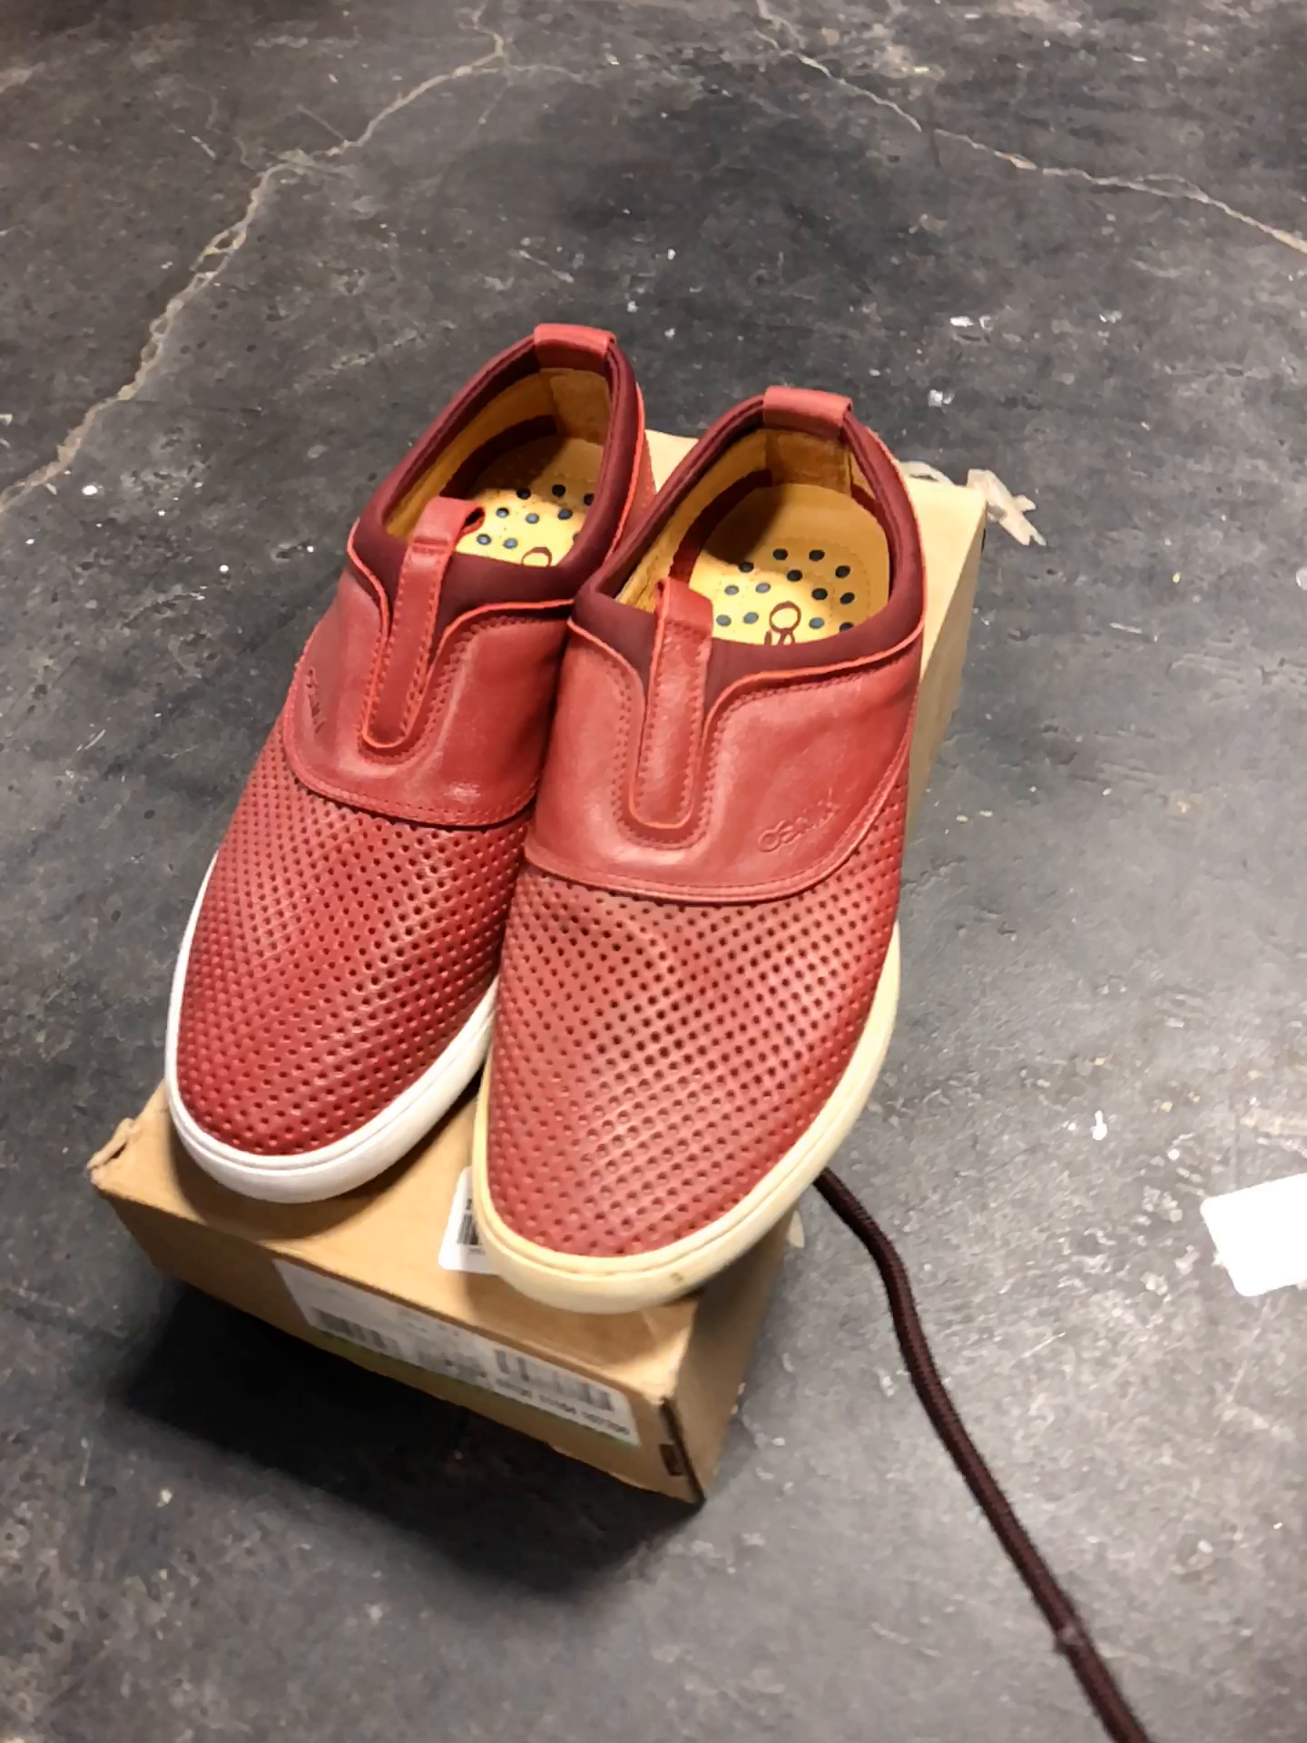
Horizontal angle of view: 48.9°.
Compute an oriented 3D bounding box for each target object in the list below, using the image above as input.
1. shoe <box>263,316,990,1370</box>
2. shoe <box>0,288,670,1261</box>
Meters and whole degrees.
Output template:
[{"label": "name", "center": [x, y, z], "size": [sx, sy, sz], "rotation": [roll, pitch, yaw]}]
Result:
[{"label": "shoe", "center": [0.011, -0.017, 0.362], "size": [0.100, 0.109, 0.231], "rotation": [11, 58, 12]}, {"label": "shoe", "center": [-0.077, -0.035, 0.389], "size": [0.100, 0.109, 0.231], "rotation": [11, 58, 12]}]
